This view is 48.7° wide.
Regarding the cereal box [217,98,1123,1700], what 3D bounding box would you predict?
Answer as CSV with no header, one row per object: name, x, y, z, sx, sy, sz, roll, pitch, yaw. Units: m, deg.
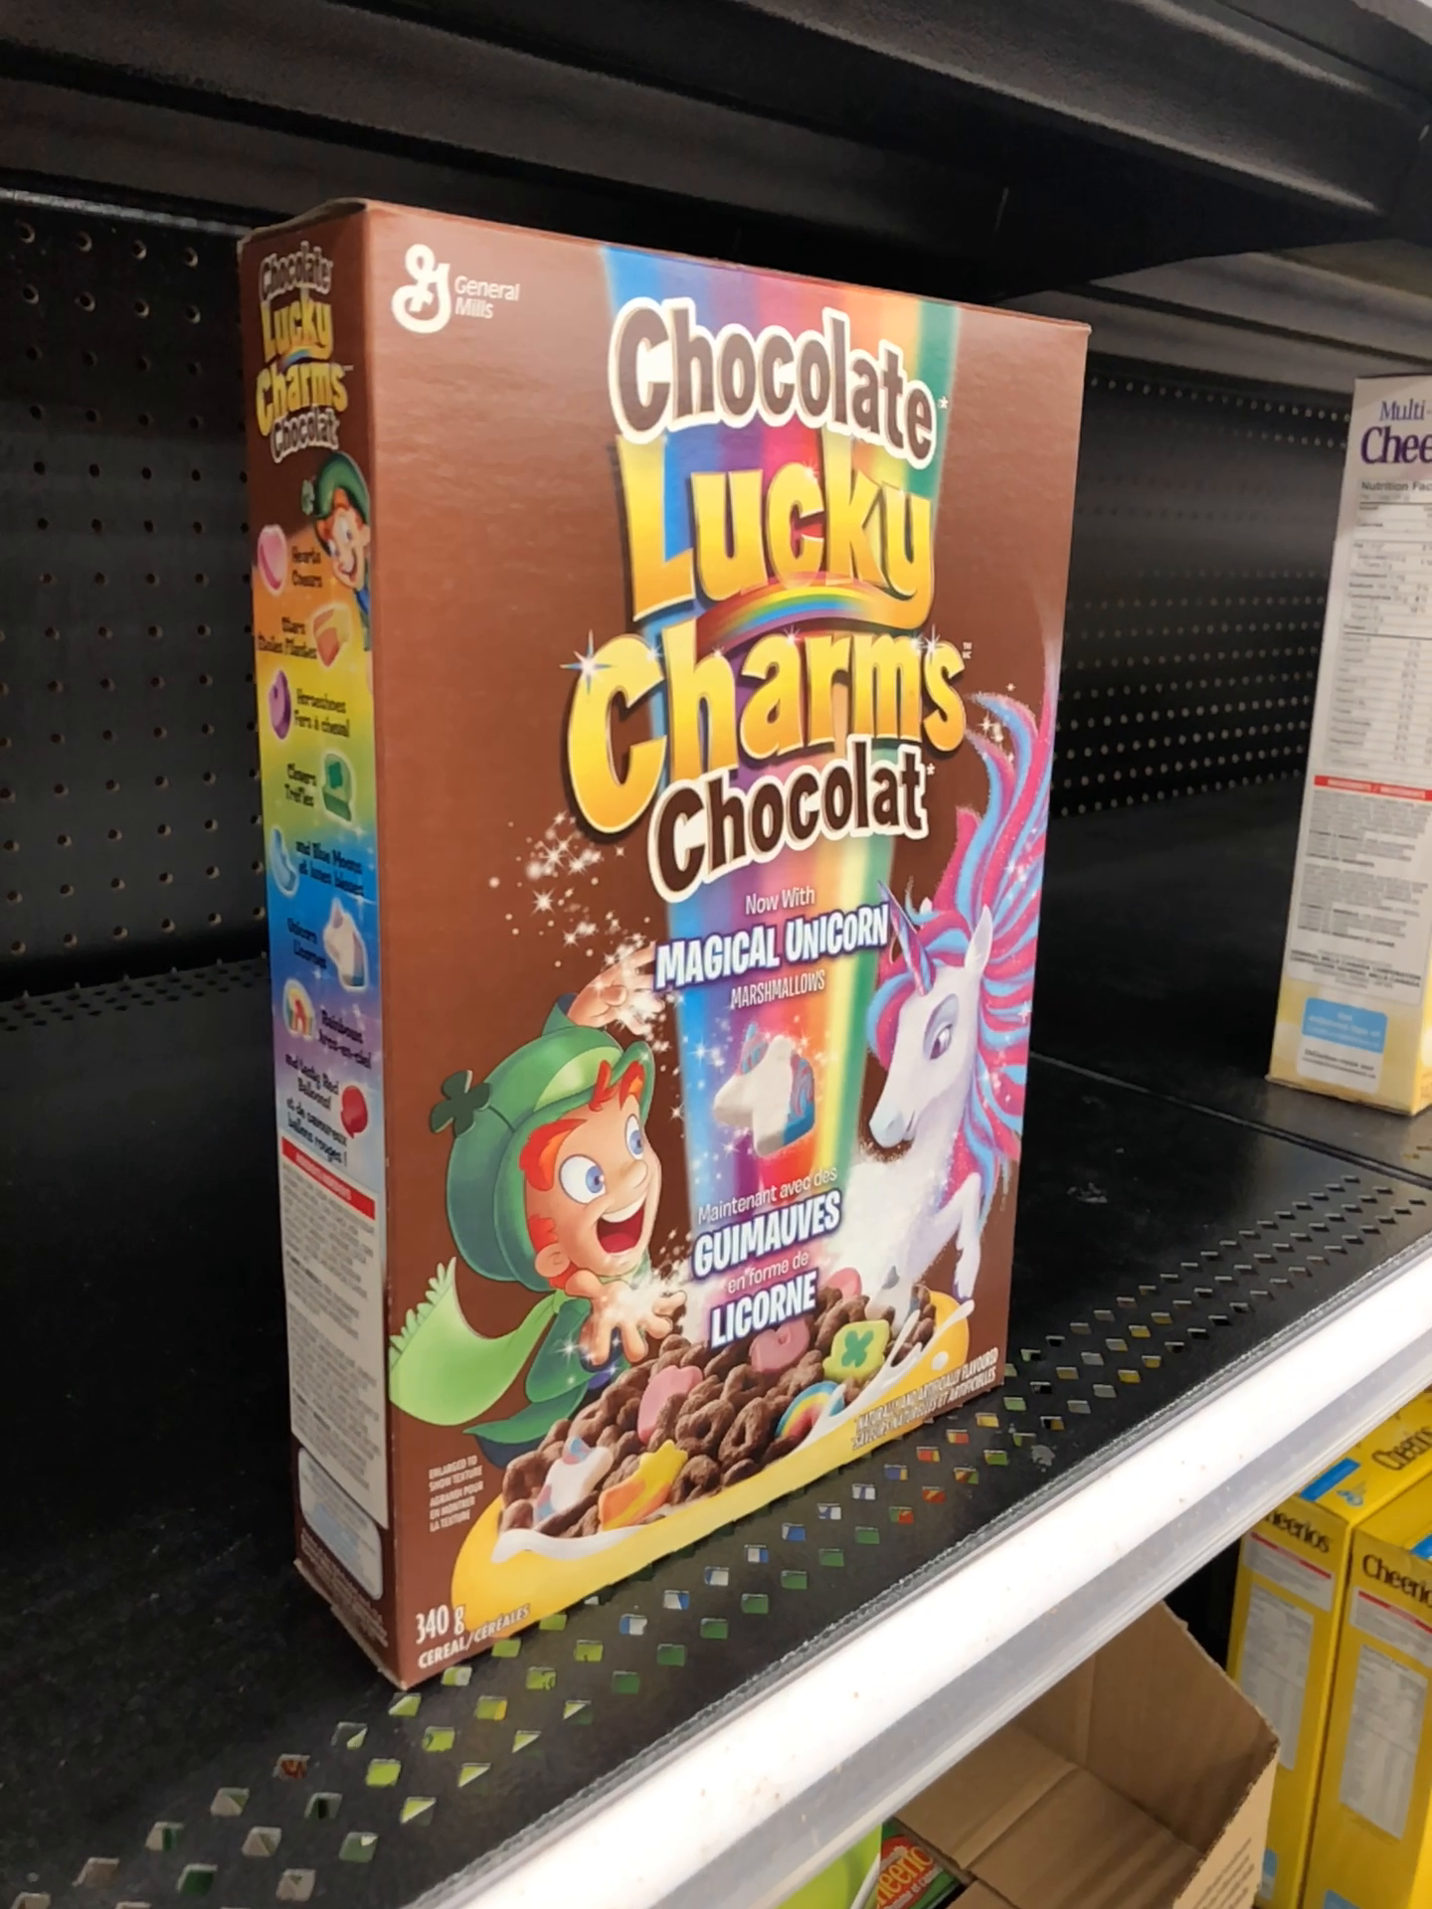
cereal box,0.000,-0.013,0.361,0.200,0.289,0.050,-11,19,-40
